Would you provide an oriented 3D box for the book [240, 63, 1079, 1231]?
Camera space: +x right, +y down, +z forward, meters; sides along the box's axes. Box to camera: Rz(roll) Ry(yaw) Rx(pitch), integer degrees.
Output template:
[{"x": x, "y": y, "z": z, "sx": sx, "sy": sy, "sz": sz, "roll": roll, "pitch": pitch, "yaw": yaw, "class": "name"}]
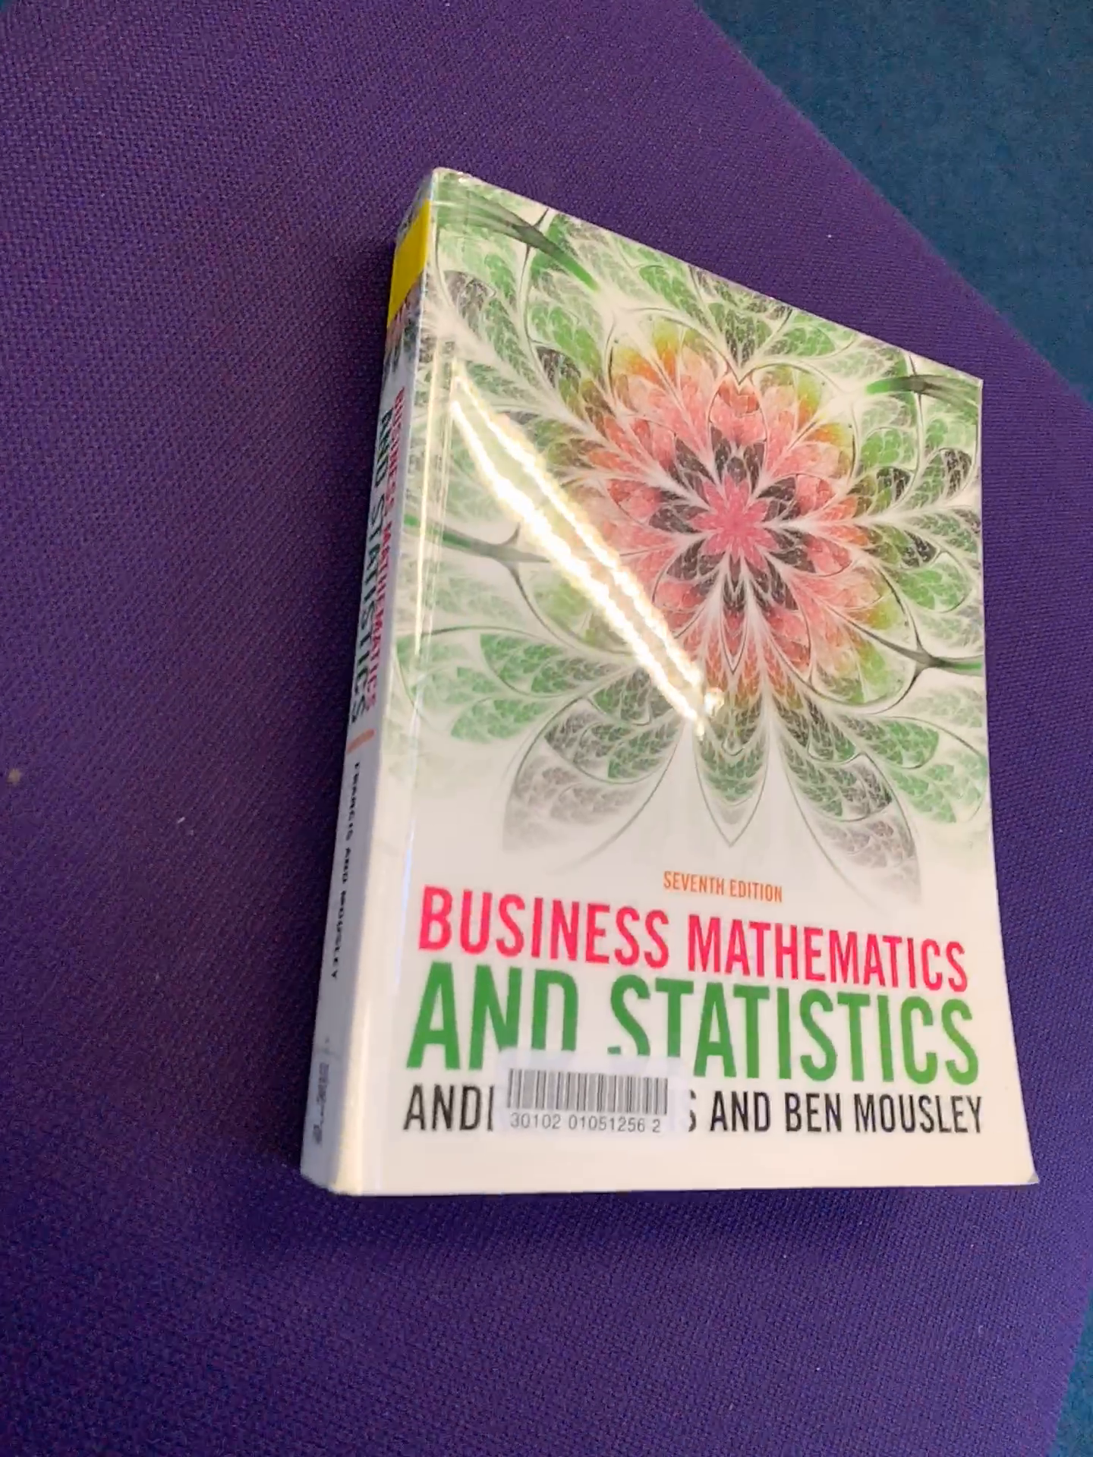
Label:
[{"x": 0.042, "y": -0.014, "z": 0.299, "sx": 0.200, "sy": 0.050, "sz": 0.261, "roll": 11, "pitch": 72, "yaw": -25, "class": "book"}]
